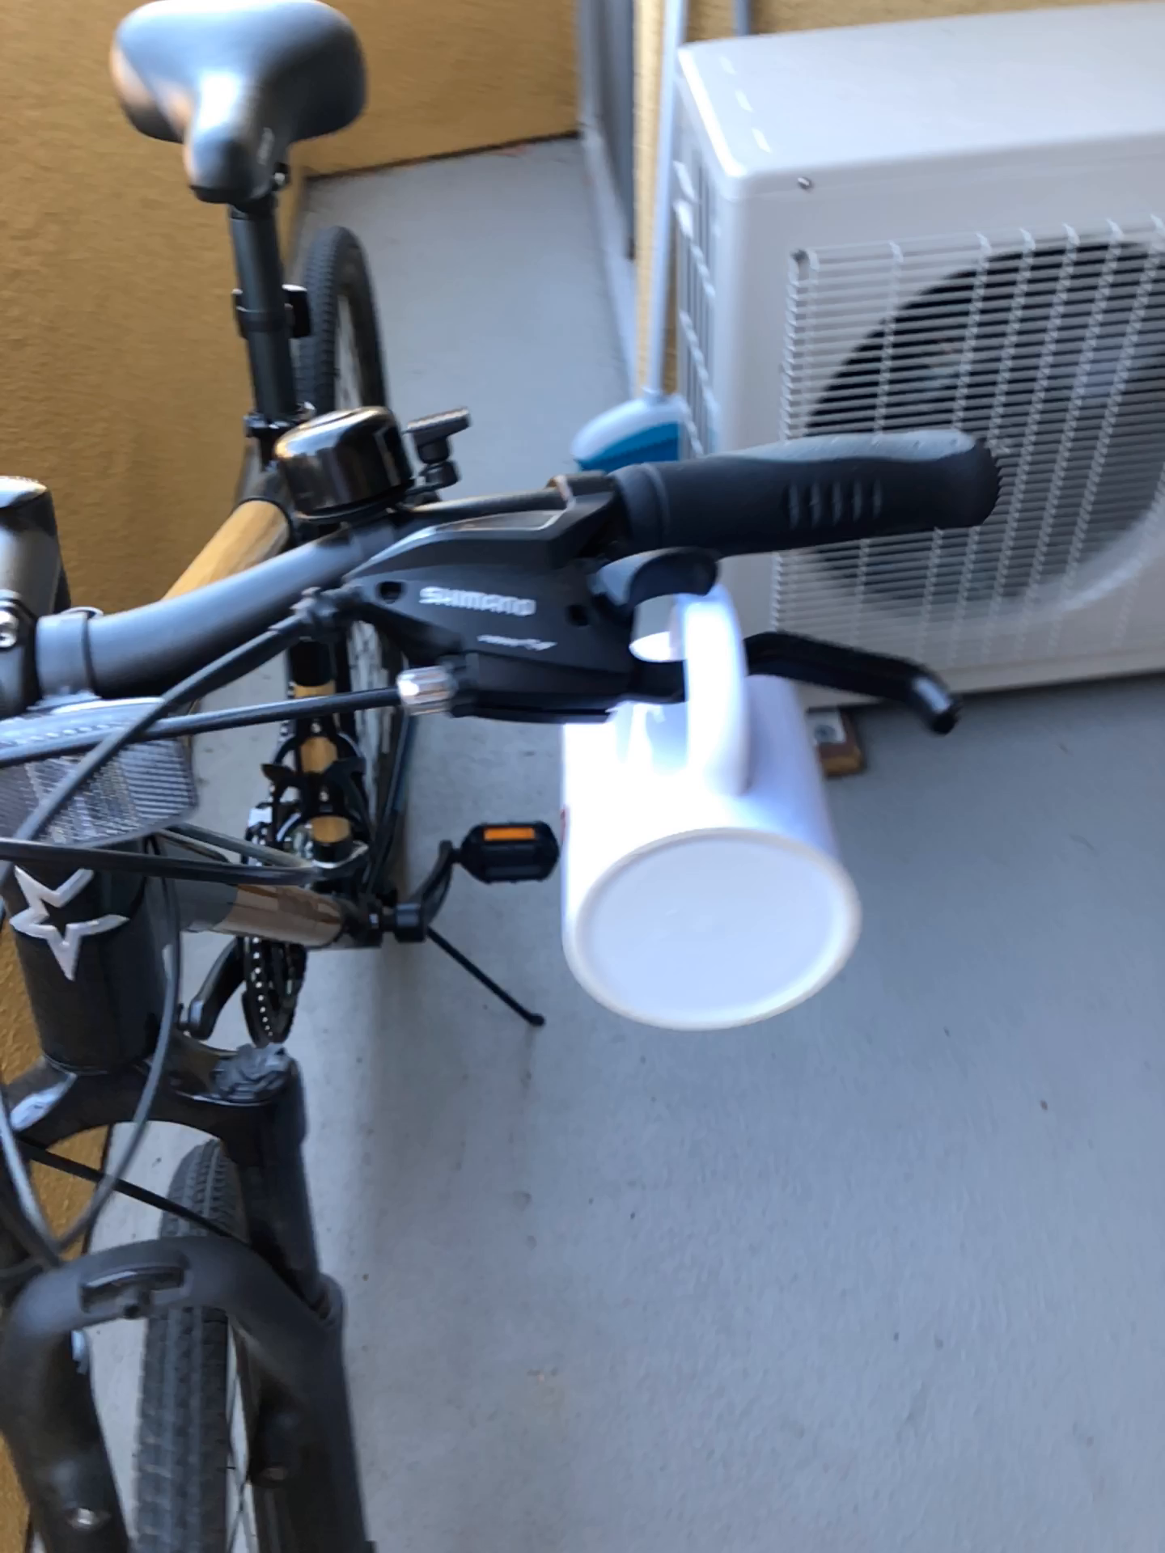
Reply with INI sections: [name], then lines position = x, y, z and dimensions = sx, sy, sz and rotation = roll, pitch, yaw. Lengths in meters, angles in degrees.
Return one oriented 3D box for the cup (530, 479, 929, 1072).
[cup]
position = 0.037, -0.001, 0.385
dimensions = 0.090, 0.119, 0.121
rotation = 5, 42, 1
